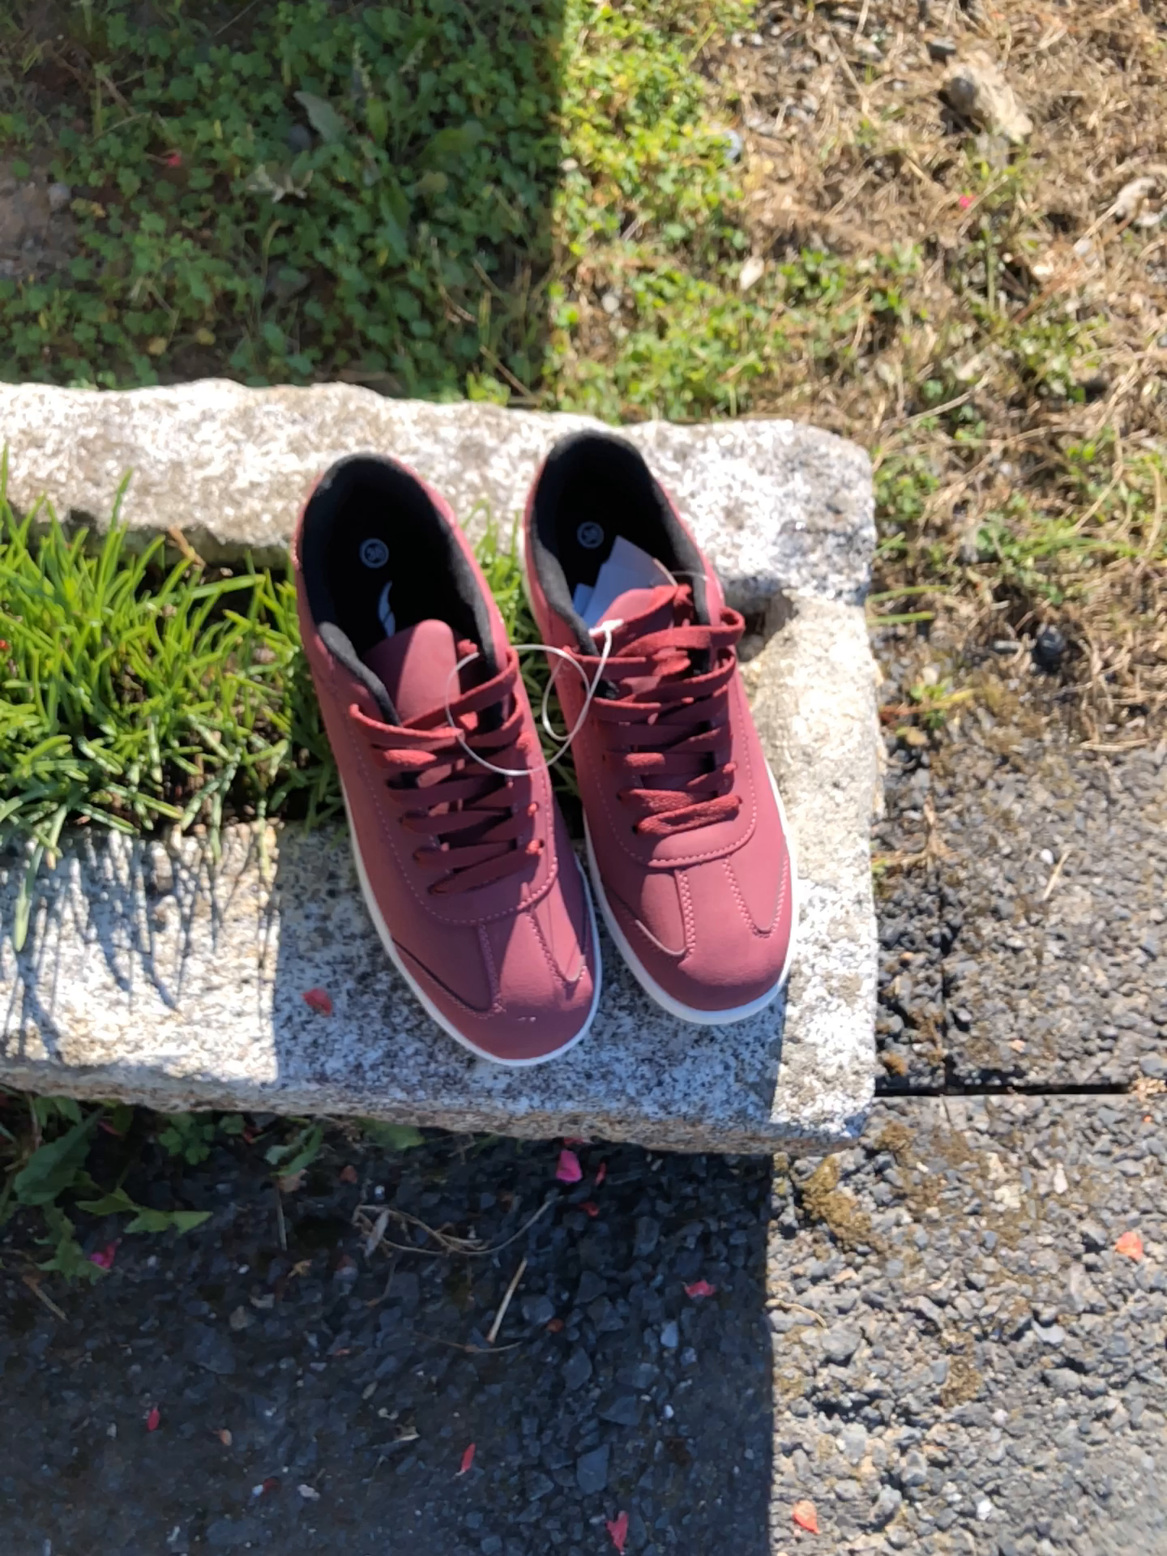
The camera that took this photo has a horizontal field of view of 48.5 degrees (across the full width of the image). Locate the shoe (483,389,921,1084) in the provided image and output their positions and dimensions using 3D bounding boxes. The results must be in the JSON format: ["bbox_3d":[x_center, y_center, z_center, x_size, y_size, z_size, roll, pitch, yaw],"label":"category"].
[{"bbox_3d":[0.039,-0.019,0.534,0.100,0.080,0.260,-13,72,-6],"label":"shoe"}]

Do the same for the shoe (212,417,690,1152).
[{"bbox_3d":[-0.054,0.002,0.526,0.100,0.080,0.260,-19,84,-7],"label":"shoe"}]
